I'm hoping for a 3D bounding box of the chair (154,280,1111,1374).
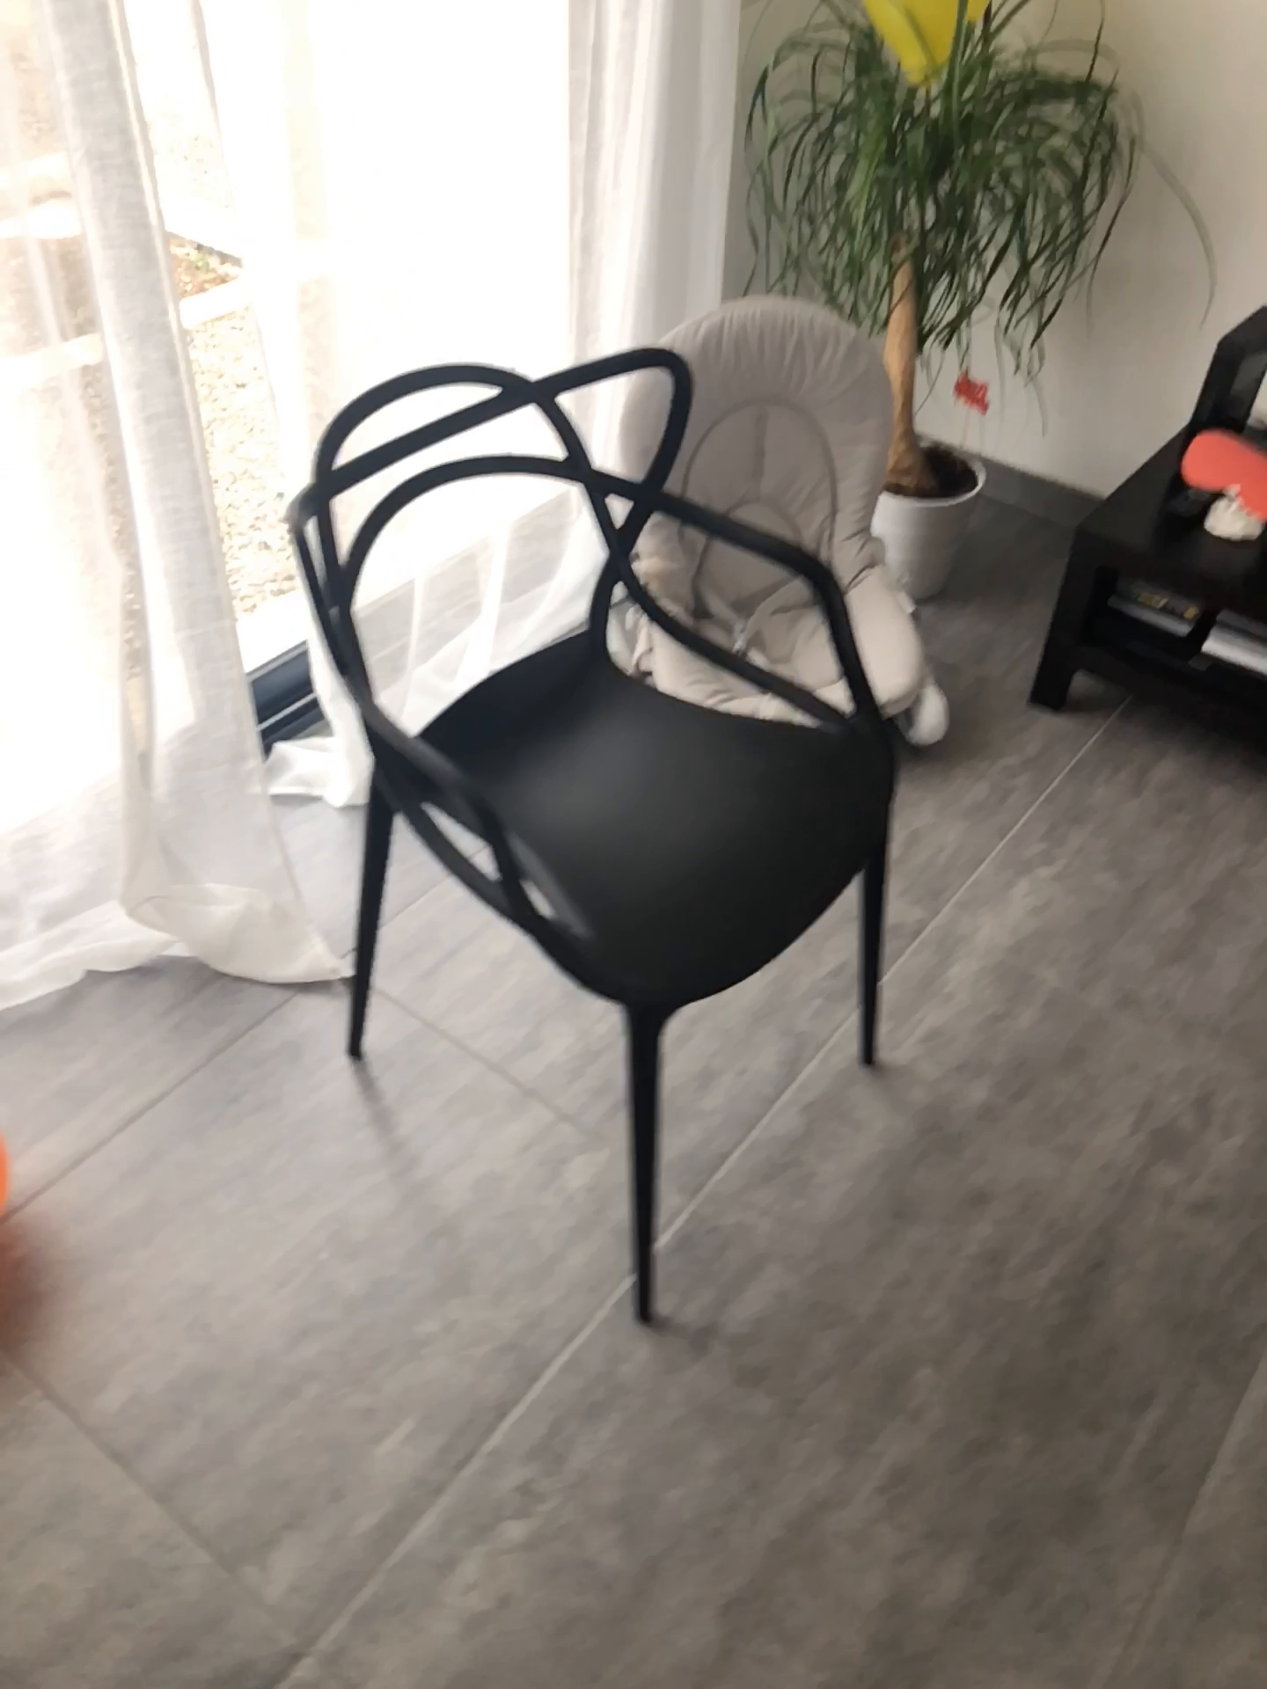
[{"bbox_3d":[-0.002,-0.030,1.439,0.586,0.795,0.565,30,49,27],"label":"chair"}]
